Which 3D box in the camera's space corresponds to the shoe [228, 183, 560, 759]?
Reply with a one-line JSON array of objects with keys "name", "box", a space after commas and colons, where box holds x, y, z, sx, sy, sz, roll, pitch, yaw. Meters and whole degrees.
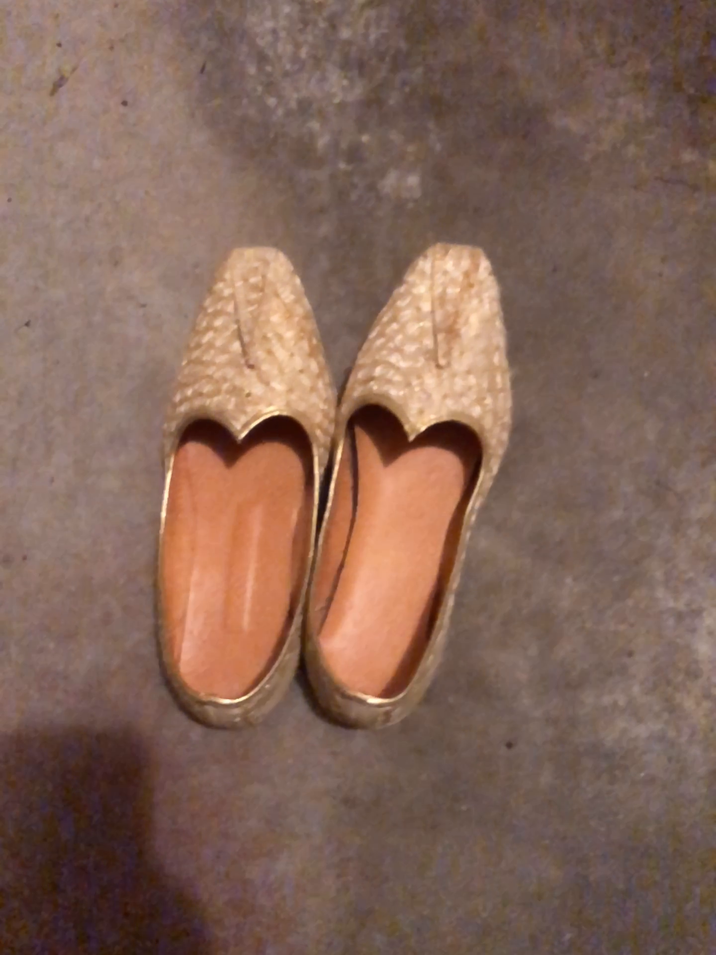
[{"name": "shoe", "box": [0.025, -0.007, 0.425, 0.104, 0.073, 0.275, 12, 77, 7]}]

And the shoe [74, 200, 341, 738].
[{"name": "shoe", "box": [-0.071, -0.008, 0.433, 0.104, 0.073, 0.275, 1, 76, 5]}]
